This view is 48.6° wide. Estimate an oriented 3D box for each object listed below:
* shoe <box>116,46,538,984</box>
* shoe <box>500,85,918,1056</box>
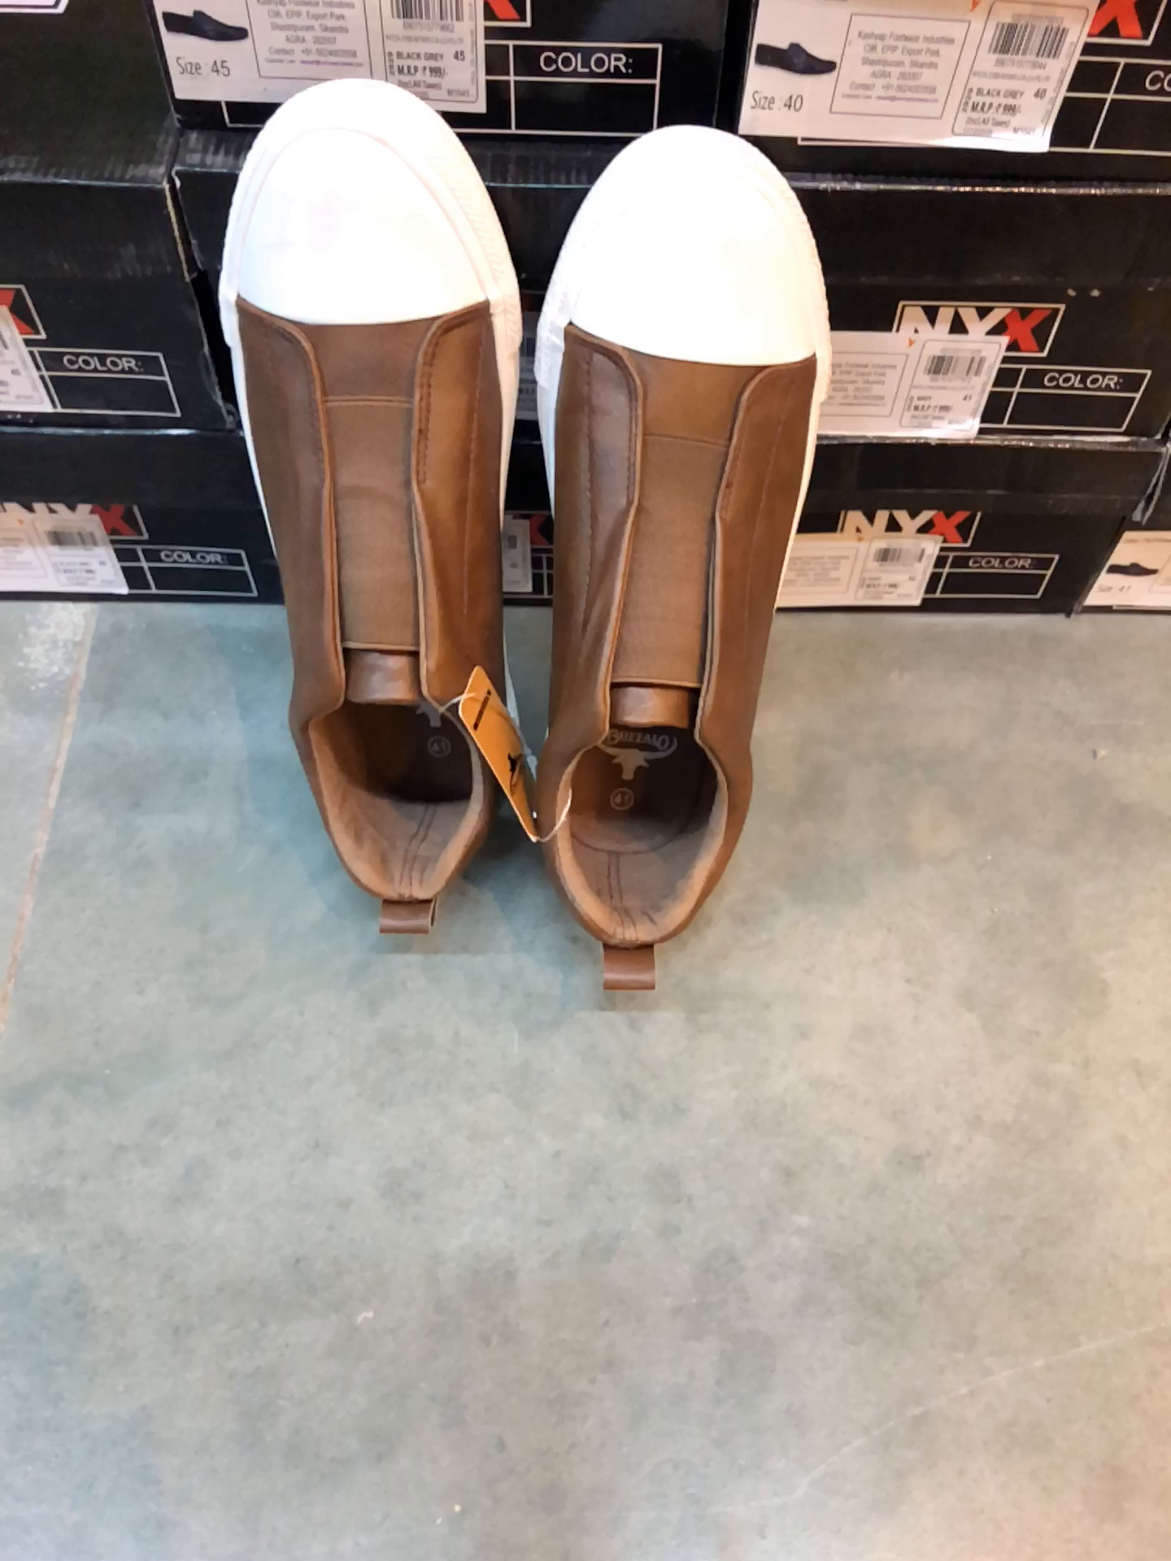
[{"bbox_3d":[-0.067,-0.078,0.420,0.098,0.268,0.103,-1,23,-1],"label":"shoe"},{"bbox_3d":[0.027,-0.059,0.410,0.096,0.271,0.101,2,22,0],"label":"shoe"}]
